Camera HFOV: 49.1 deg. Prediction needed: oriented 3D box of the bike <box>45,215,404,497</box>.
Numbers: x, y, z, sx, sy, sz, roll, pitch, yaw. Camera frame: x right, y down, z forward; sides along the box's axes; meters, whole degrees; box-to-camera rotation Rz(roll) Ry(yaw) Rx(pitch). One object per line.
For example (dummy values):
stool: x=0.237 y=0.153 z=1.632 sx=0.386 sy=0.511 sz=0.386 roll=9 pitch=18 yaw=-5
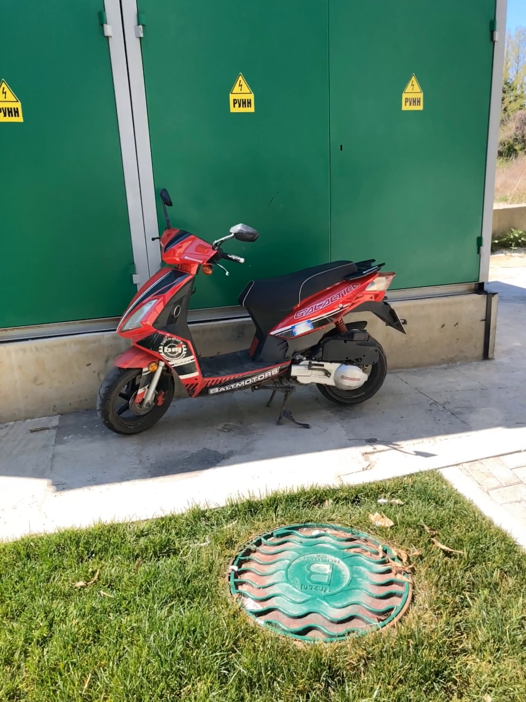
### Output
bike: x=-0.079 y=-0.056 z=2.934 sx=1.590 sy=1.087 sz=0.590 roll=-7 pitch=16 yaw=-12
